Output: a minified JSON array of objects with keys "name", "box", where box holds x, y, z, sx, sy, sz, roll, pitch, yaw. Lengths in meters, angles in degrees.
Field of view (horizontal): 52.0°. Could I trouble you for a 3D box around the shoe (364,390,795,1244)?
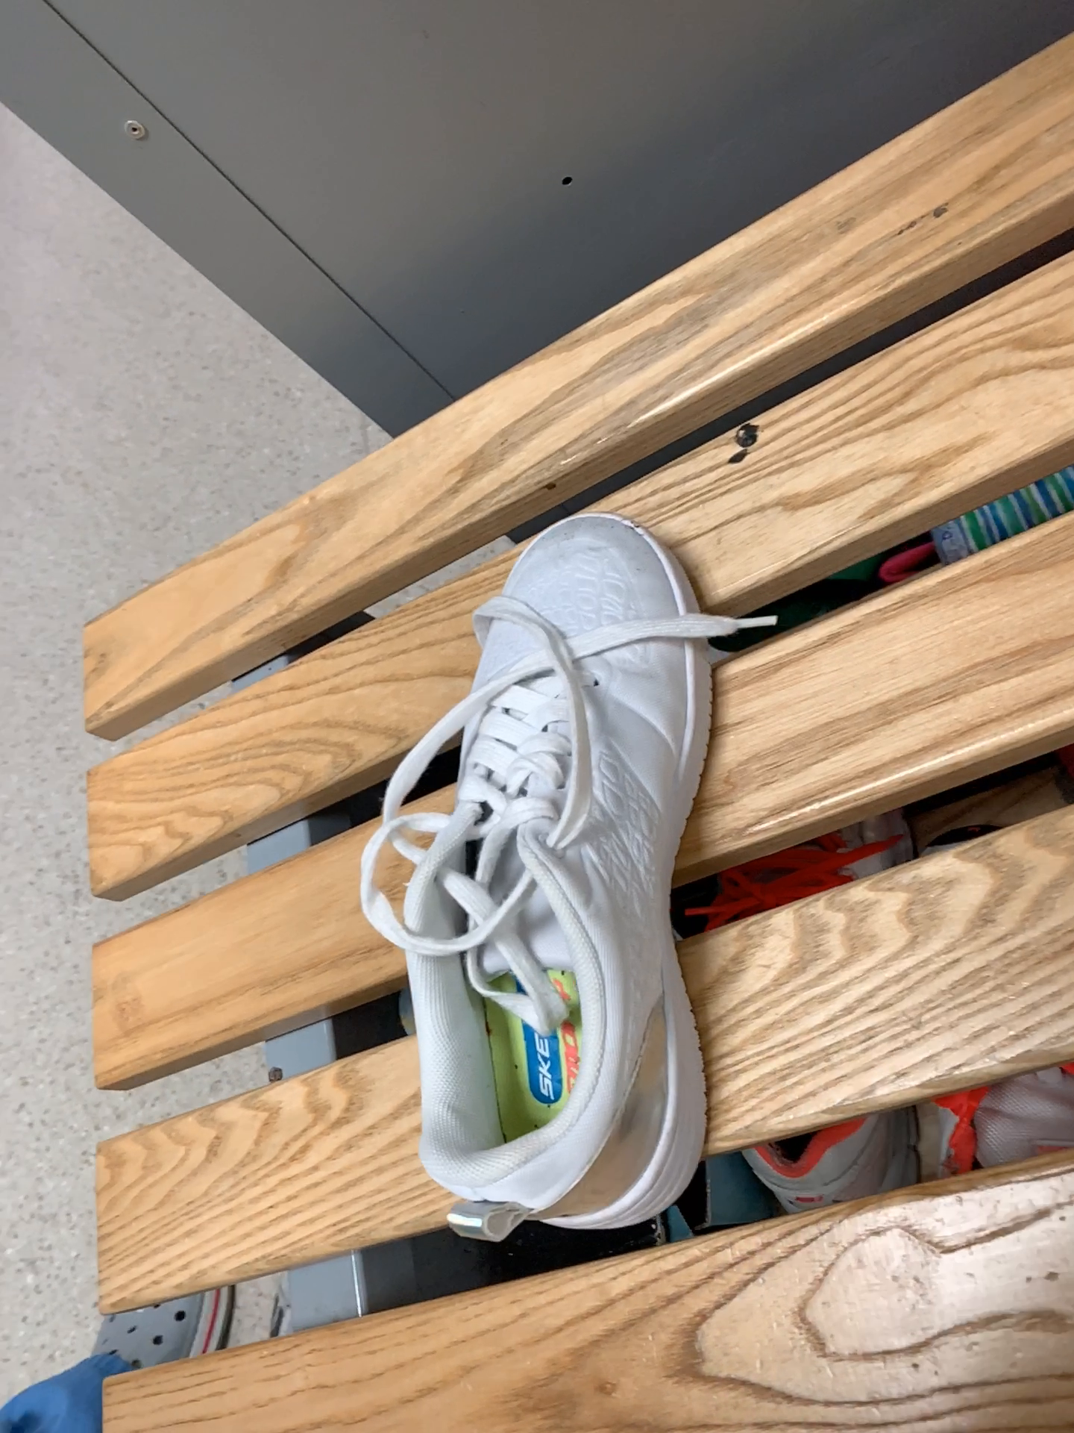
[{"name":"shoe","box":[0.007,0.032,0.364,0.100,0.076,0.251,-15,64,26]}]
